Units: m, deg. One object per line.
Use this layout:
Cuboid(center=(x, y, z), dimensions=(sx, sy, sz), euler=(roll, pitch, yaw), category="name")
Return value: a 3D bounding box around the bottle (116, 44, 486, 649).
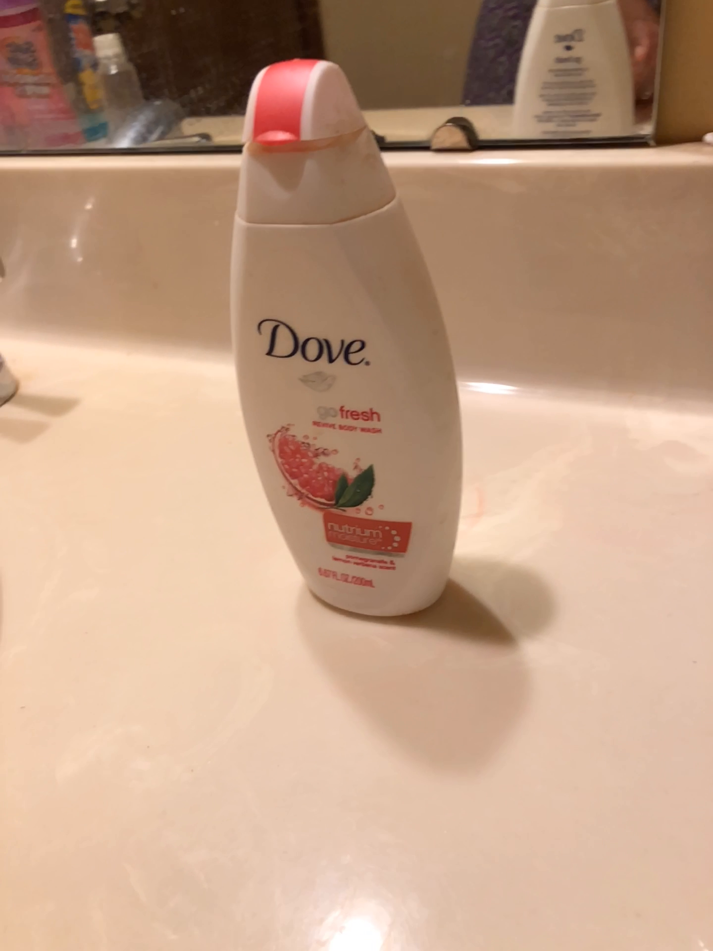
Cuboid(center=(-0.005, -0.028, 0.228), dimensions=(0.070, 0.160, 0.040), euler=(10, 39, 25), category="bottle")
